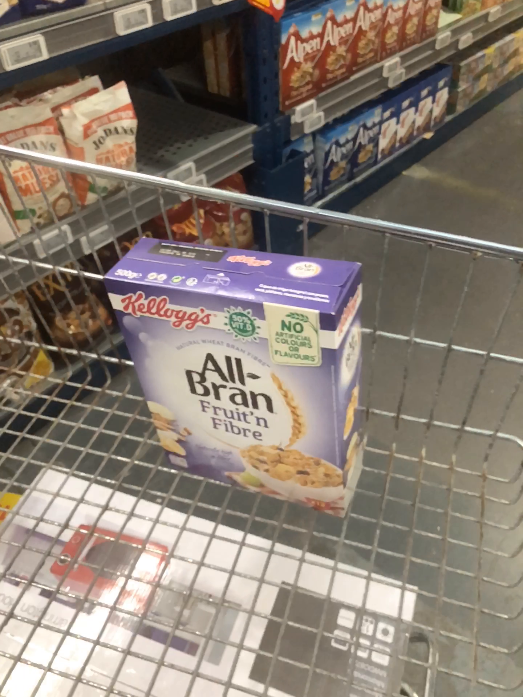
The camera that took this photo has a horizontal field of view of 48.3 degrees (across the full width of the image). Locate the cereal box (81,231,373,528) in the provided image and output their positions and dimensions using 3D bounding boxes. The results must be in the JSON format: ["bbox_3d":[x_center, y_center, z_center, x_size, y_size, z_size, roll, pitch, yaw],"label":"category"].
[{"bbox_3d":[-0.012,0.030,0.478,0.190,0.229,0.070,10,45,21],"label":"cereal box"}]
